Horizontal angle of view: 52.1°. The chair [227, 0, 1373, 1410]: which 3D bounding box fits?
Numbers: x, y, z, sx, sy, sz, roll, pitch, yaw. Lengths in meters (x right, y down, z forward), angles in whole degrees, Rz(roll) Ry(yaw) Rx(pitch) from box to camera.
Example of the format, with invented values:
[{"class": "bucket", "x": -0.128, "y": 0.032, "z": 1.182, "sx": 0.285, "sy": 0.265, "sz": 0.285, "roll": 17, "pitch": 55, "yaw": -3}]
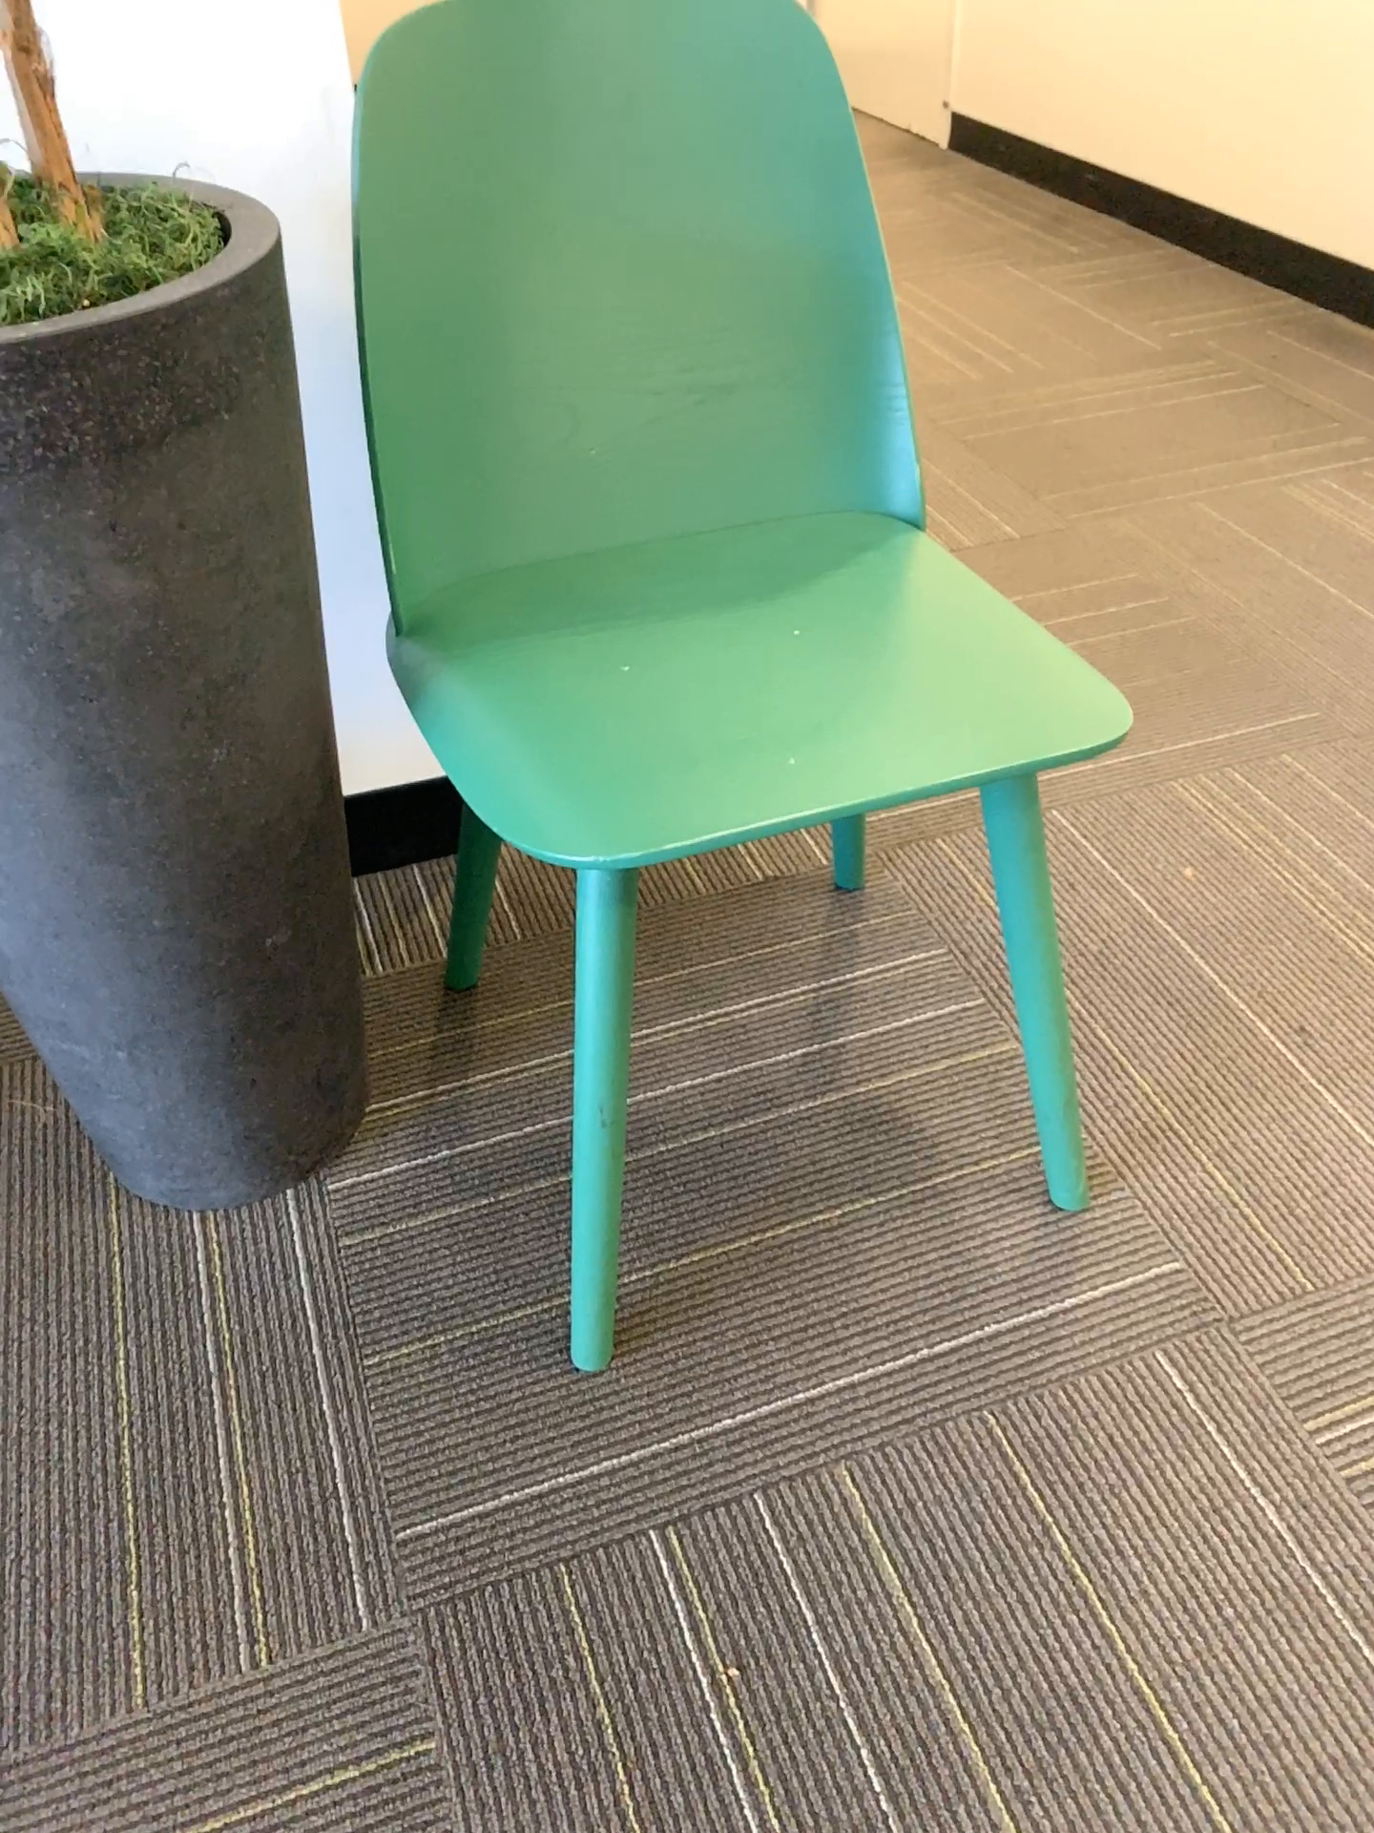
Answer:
[{"class": "chair", "x": -0.009, "y": -0.207, "z": 0.940, "sx": 0.390, "sy": 0.626, "sz": 0.715, "roll": -13, "pitch": 41, "yaw": -13}]
